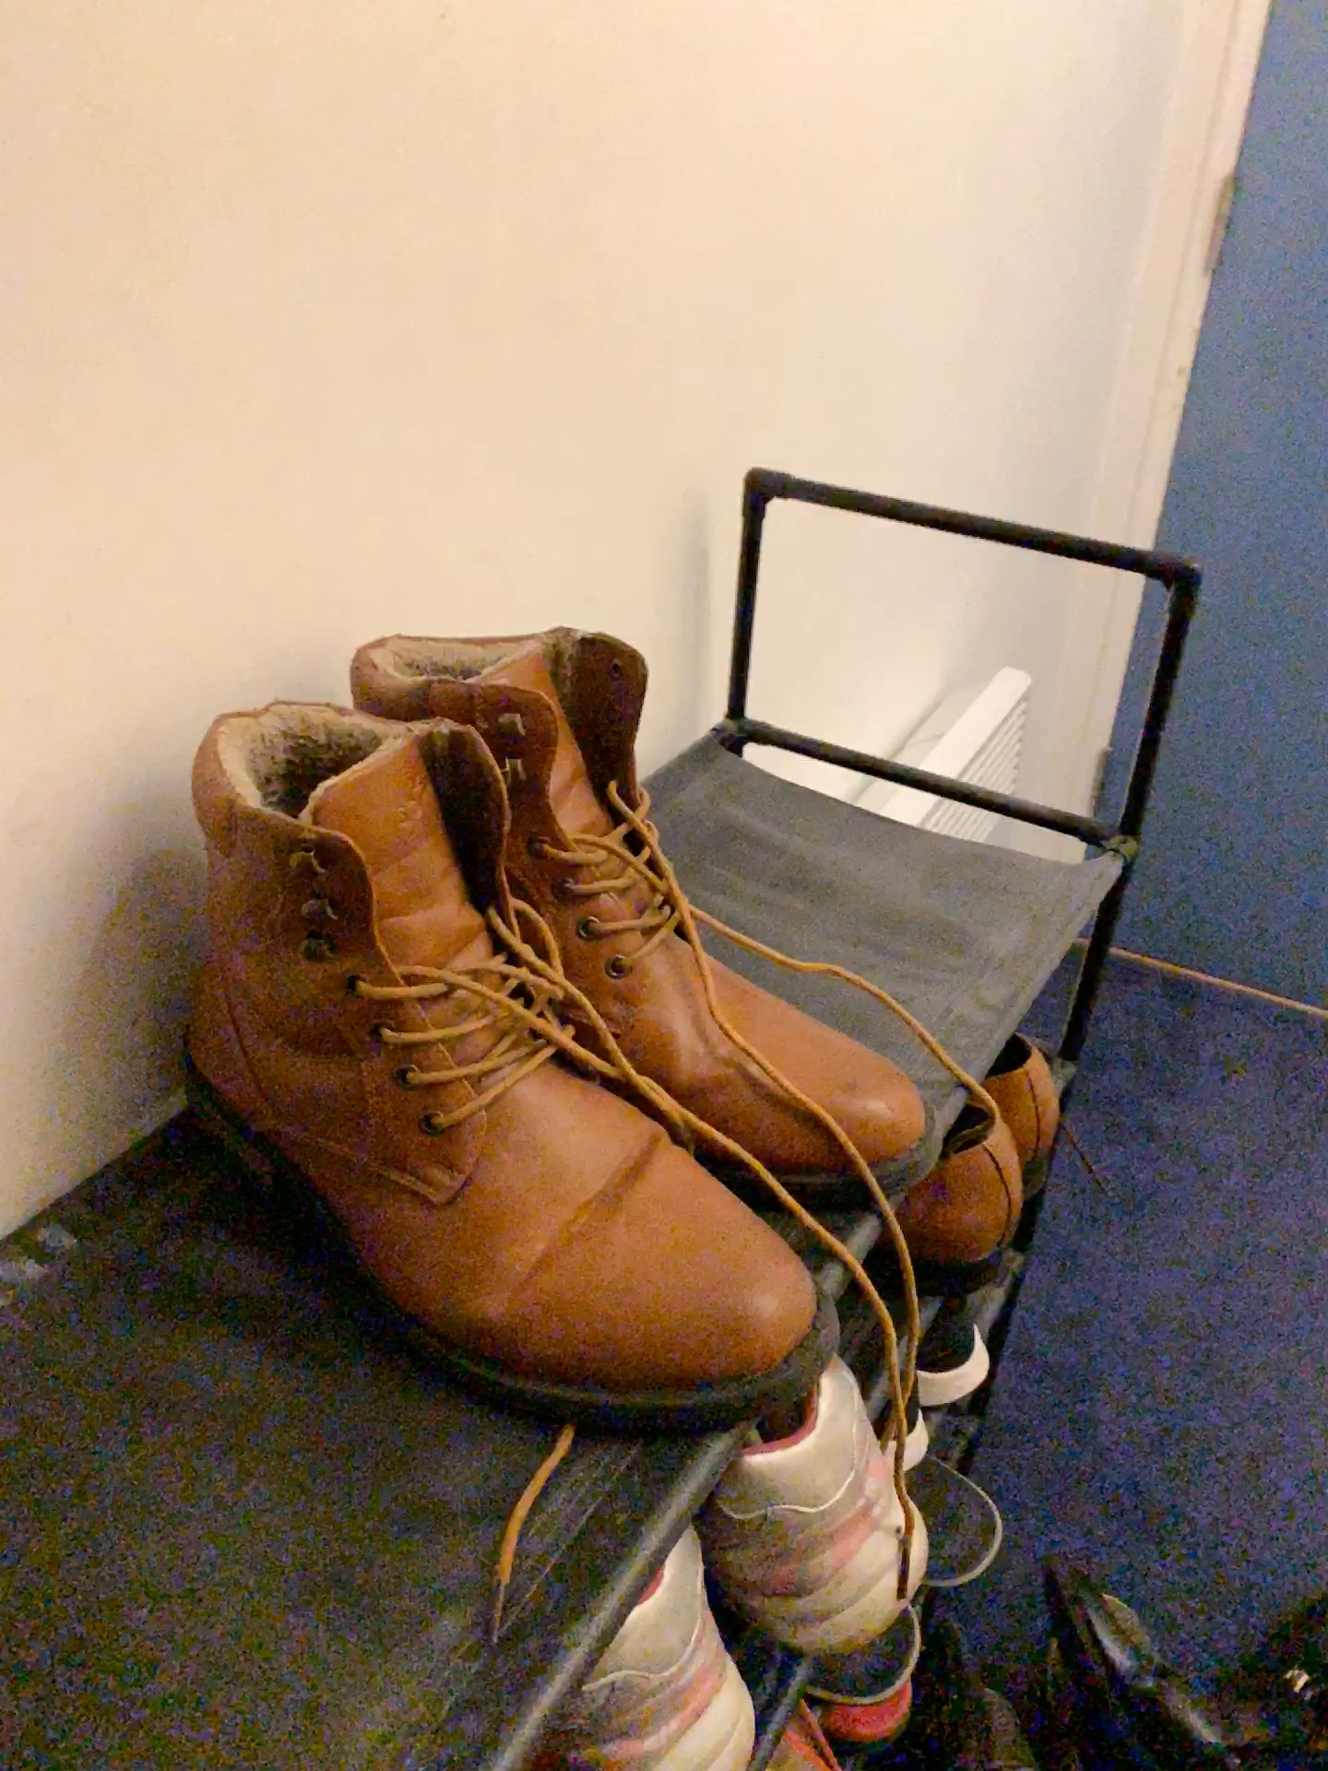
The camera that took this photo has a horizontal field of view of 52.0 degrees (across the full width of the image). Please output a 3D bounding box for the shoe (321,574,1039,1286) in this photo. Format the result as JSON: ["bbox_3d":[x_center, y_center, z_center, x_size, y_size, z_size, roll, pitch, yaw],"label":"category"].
[{"bbox_3d":[0.002,0.008,0.550,0.240,0.198,0.111,17,34,24],"label":"shoe"}]

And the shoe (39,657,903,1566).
[{"bbox_3d":[-0.073,0.061,0.483,0.271,0.198,0.111,22,36,30],"label":"shoe"}]
